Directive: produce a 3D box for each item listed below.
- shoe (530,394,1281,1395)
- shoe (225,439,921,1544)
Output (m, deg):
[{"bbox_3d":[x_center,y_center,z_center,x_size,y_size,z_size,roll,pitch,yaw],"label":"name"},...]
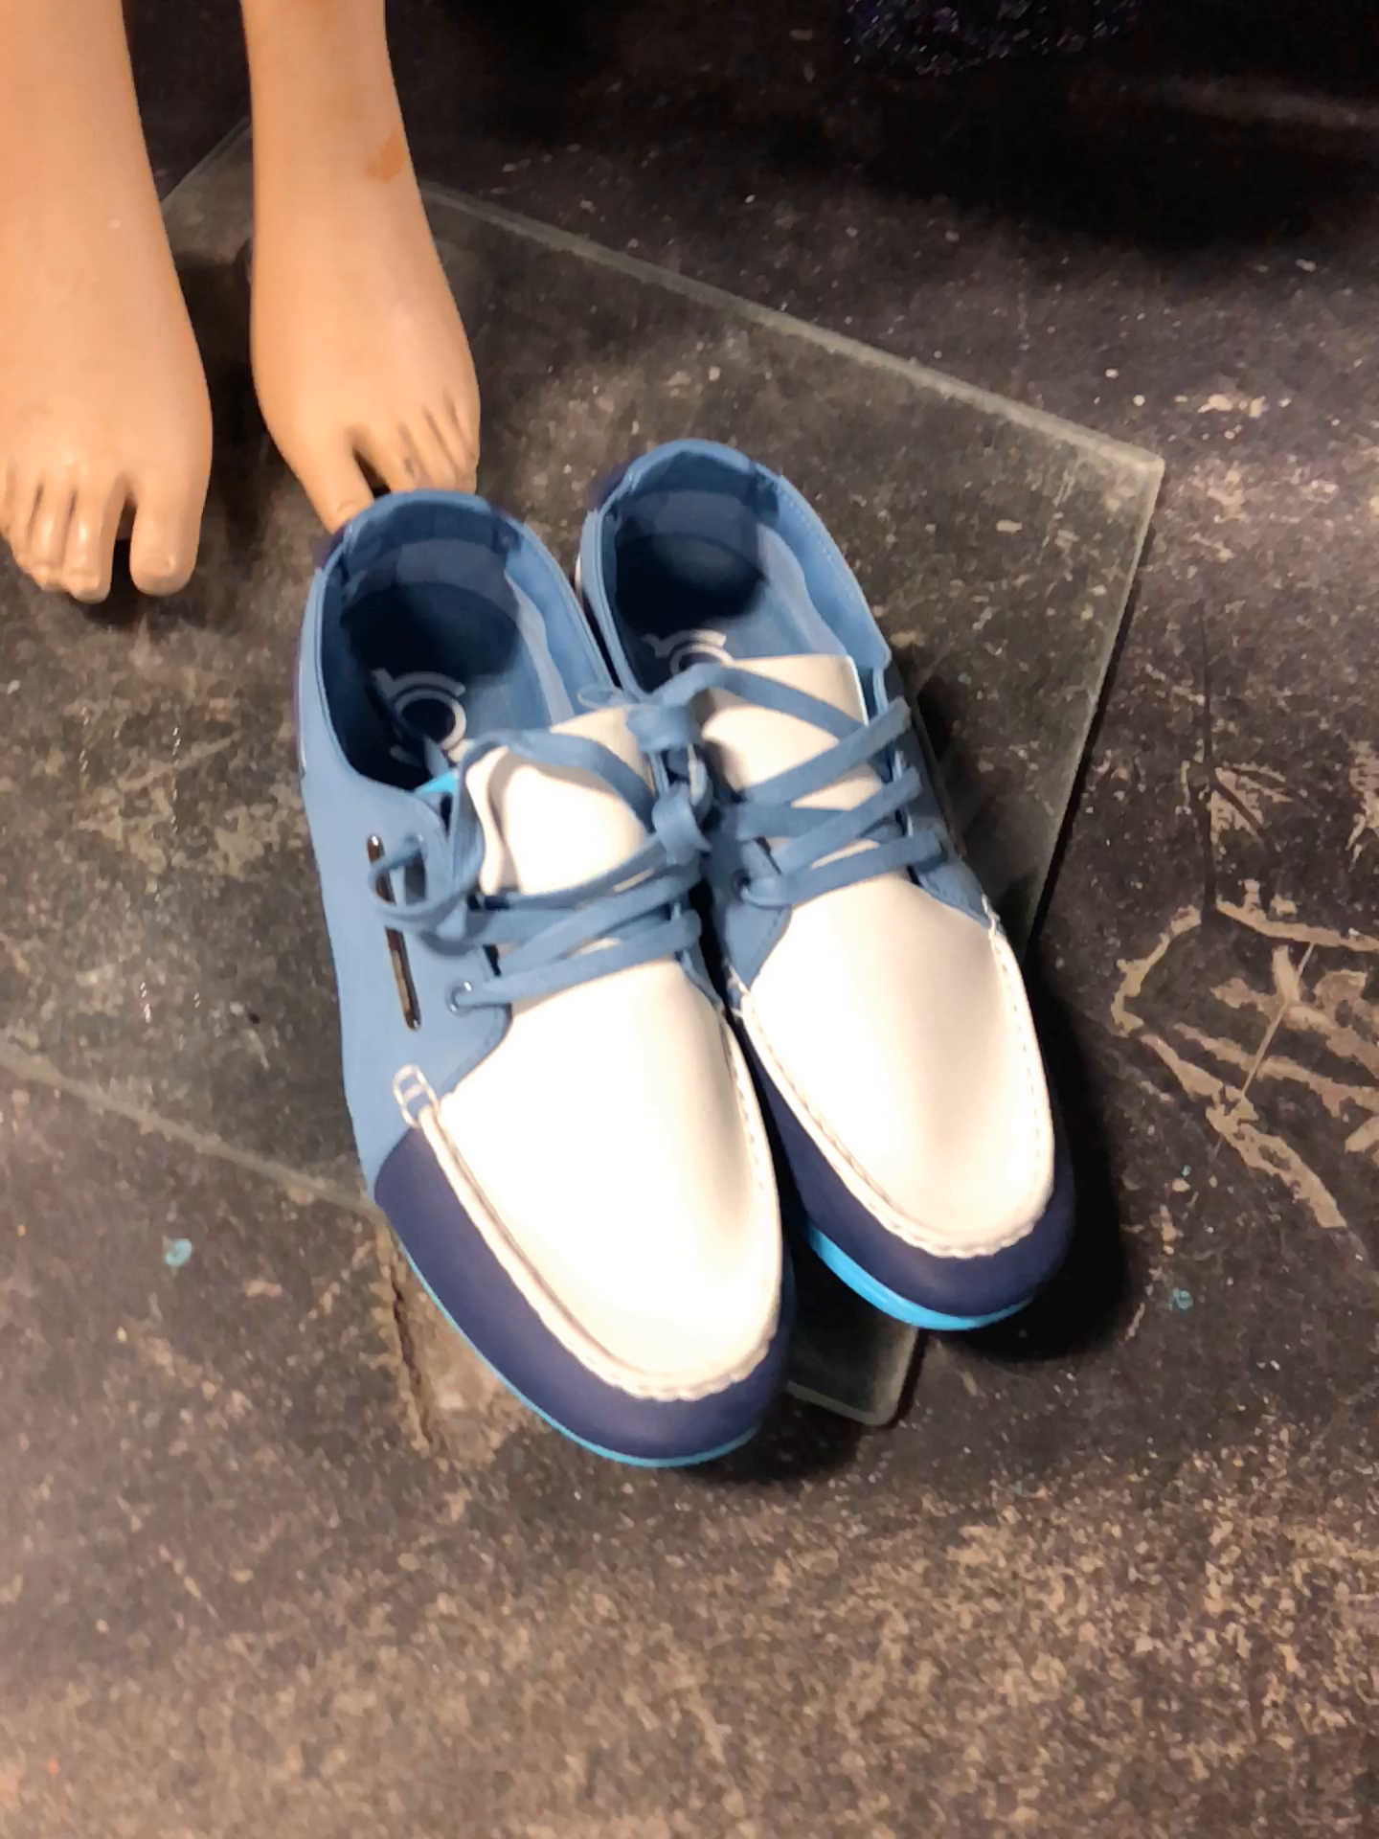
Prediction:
[{"bbox_3d":[0.040,-0.015,0.427,0.100,0.099,0.251,-14,63,-15],"label":"shoe"},{"bbox_3d":[-0.045,0.009,0.398,0.090,0.099,0.261,-13,63,-17],"label":"shoe"}]
